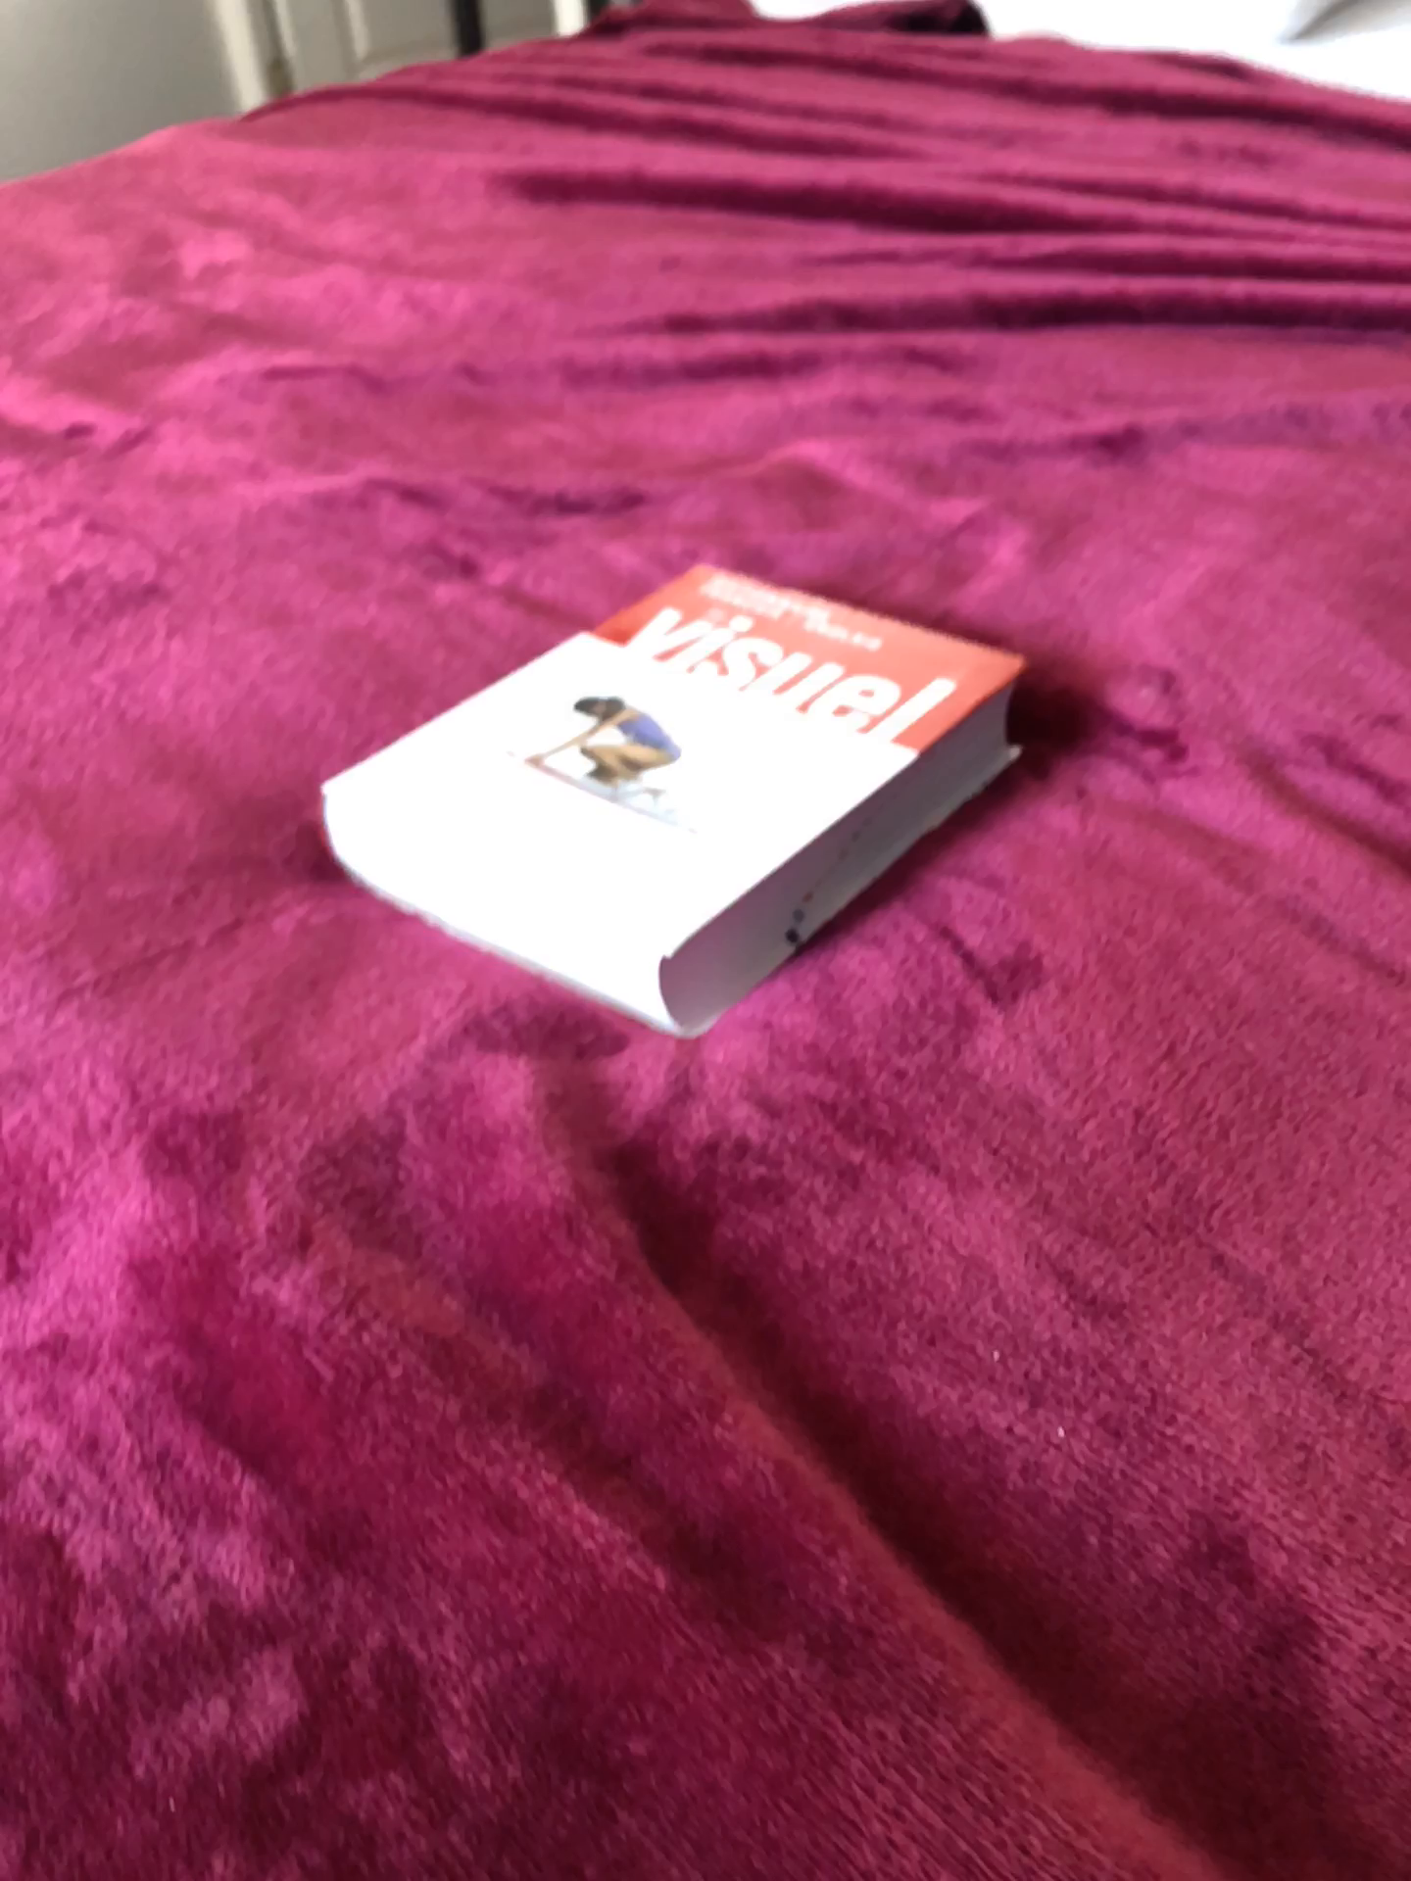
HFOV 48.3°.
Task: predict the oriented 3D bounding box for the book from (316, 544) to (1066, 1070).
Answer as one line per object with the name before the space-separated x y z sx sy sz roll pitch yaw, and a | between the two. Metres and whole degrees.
book | 0.000 -0.054 0.479 0.140 0.039 0.181 25 47 32
